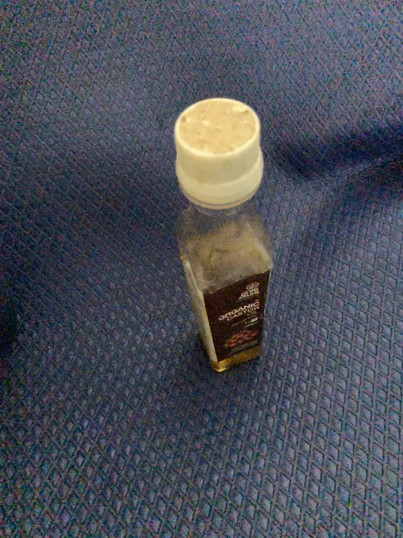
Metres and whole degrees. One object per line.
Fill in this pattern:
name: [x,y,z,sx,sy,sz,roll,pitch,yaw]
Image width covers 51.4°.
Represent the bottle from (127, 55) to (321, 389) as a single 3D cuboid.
bottle: [0.015,0.001,0.224,0.050,0.199,0.050,-3,57,5]
